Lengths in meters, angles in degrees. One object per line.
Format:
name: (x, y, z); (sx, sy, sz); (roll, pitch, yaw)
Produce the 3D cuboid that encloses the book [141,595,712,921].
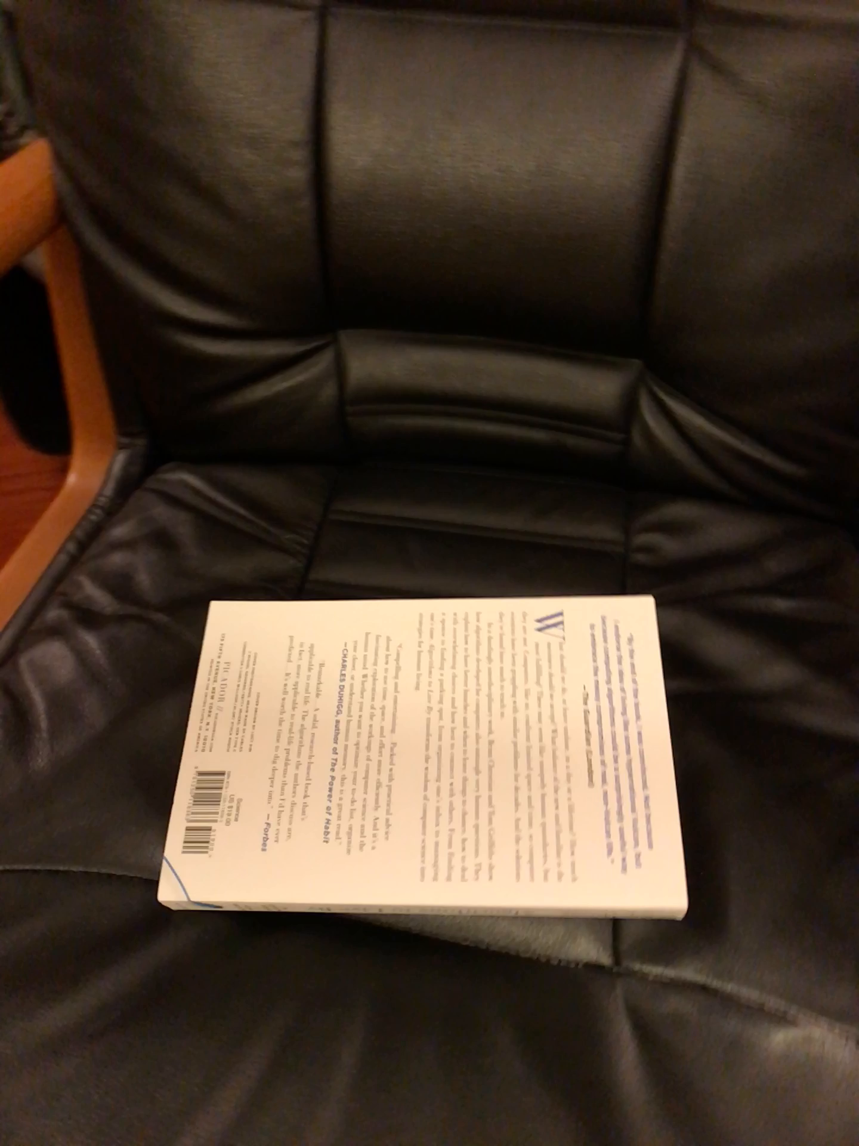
book: (0.000, 0.083, 0.463); (0.250, 0.020, 0.161); (0, 54, 5)
